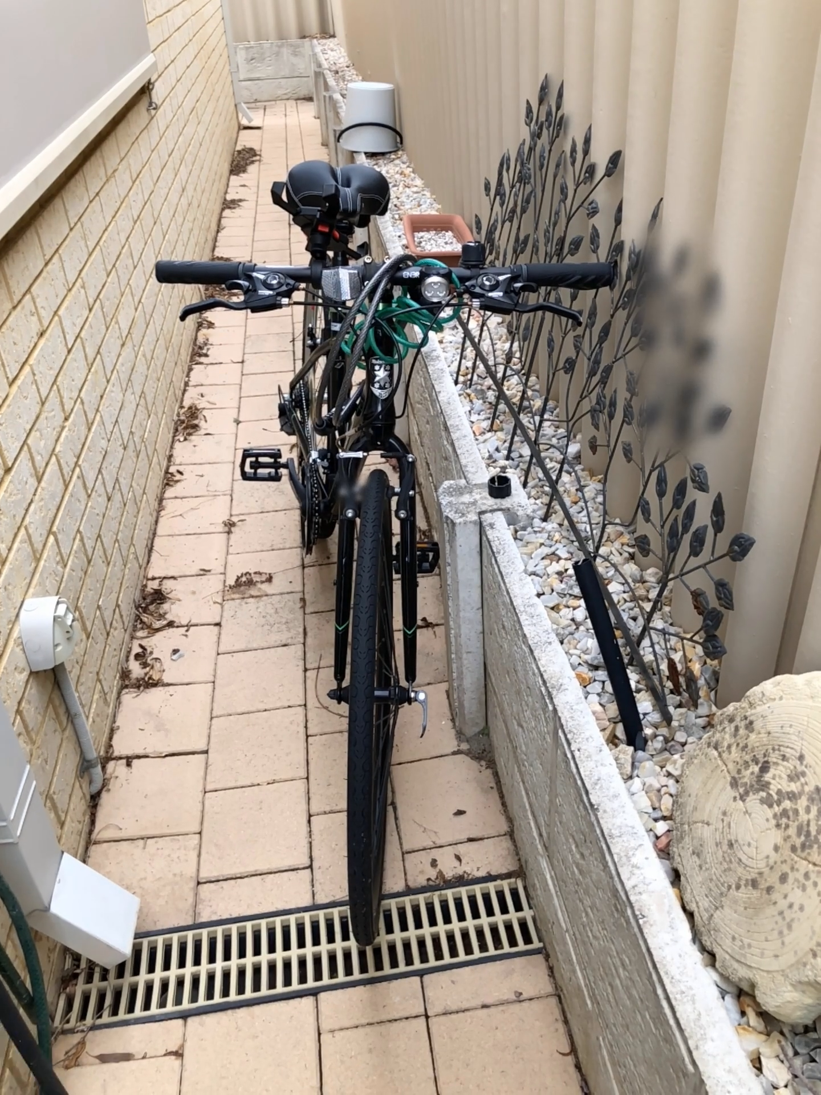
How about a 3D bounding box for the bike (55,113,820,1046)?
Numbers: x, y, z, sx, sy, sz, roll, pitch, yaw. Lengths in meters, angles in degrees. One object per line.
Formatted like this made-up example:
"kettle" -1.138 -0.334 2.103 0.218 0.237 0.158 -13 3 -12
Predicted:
"bike" -0.058 -0.200 1.685 0.637 0.859 1.708 -6 34 -5
